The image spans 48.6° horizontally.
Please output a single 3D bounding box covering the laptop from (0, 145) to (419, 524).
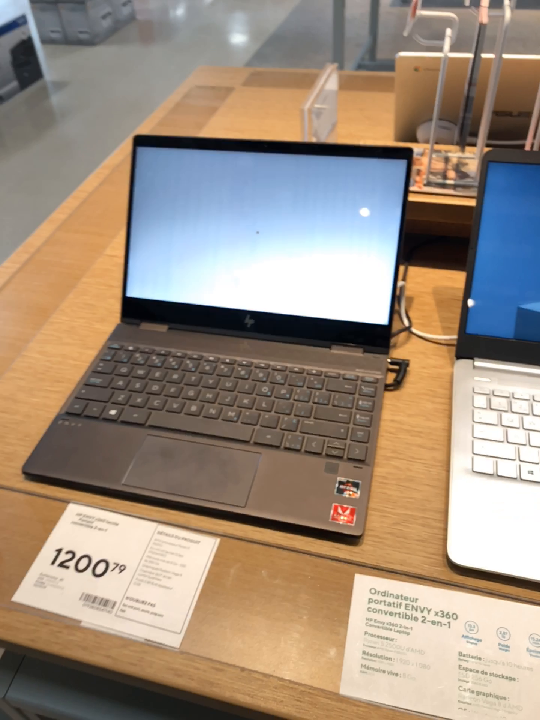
[{"bbox_3d":[-0.032,-0.052,0.563,0.293,0.162,0.319,7,44,13],"label":"laptop"}]
